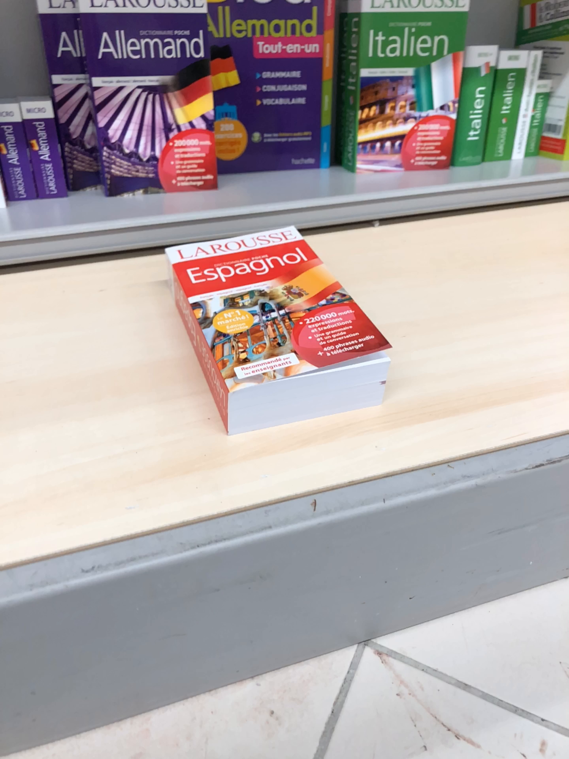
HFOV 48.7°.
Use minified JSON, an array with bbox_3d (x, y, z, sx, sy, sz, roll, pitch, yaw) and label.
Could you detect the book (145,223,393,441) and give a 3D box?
[{"bbox_3d":[-0.021,-0.046,0.443,0.117,0.044,0.183,-10,41,-18],"label":"book"}]
